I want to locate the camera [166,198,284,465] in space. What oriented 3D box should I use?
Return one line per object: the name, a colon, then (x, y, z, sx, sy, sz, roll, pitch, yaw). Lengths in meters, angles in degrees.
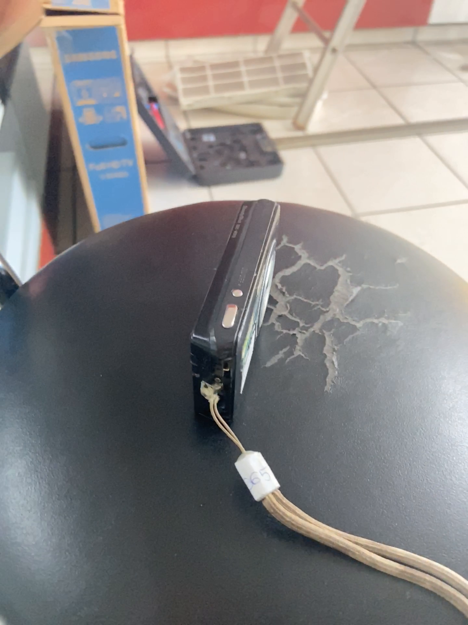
camera: (0.000, 0.003, 0.215, 0.020, 0.050, 0.111, 11, 48, 9)
